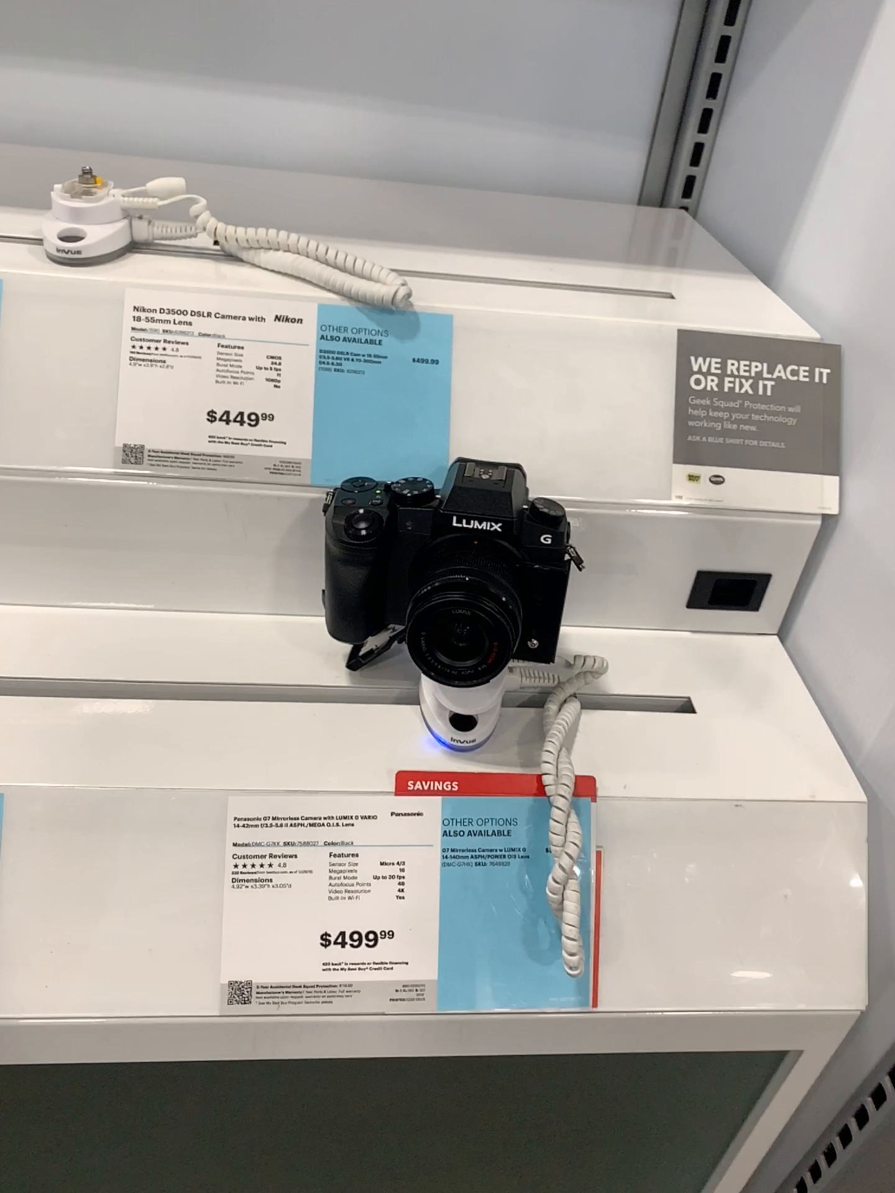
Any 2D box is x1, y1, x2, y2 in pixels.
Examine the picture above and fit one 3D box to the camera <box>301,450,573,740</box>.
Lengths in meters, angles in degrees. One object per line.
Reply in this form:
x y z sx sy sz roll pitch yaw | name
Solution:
-0.002 -0.005 0.466 0.118 0.080 0.115 8 36 2 | camera
